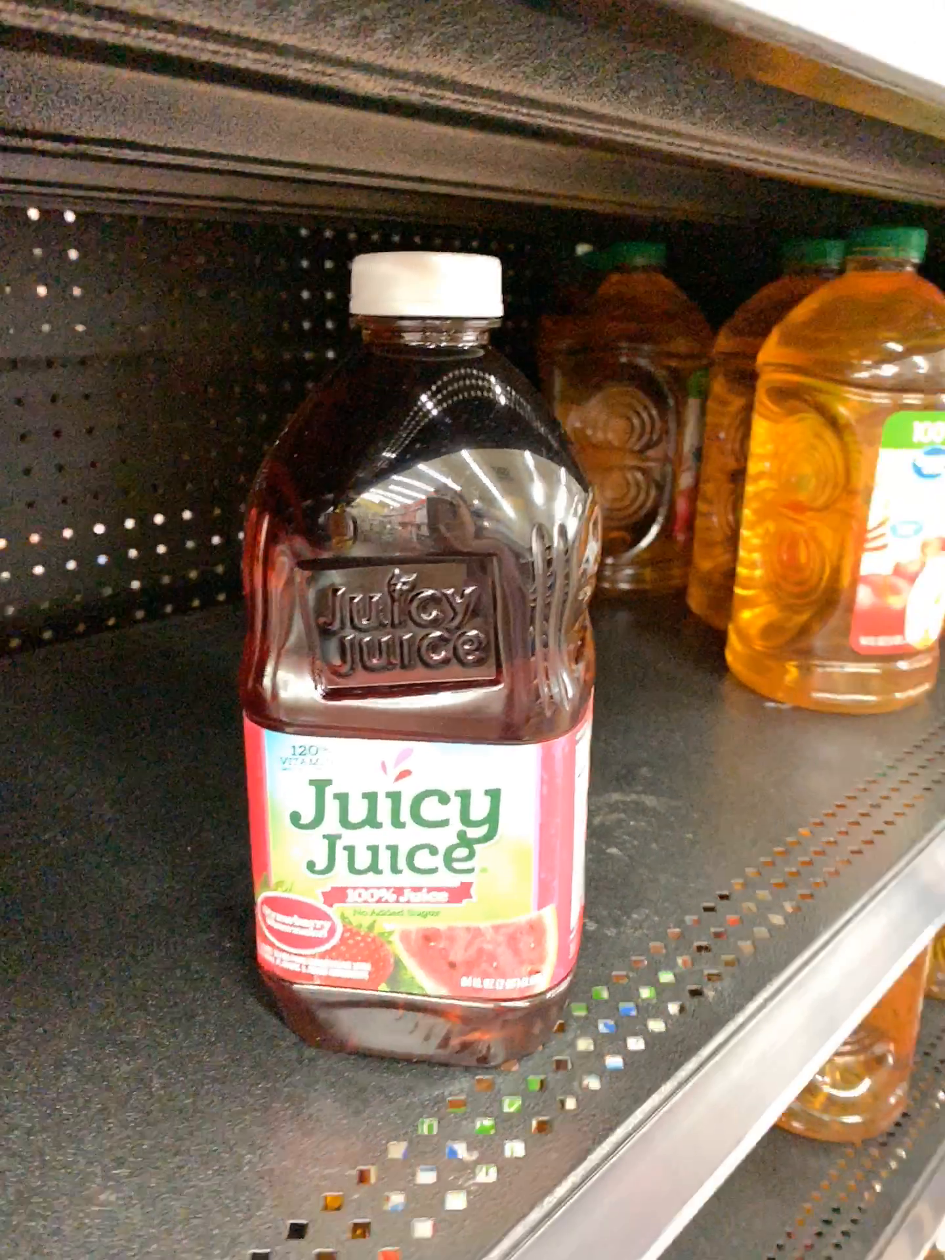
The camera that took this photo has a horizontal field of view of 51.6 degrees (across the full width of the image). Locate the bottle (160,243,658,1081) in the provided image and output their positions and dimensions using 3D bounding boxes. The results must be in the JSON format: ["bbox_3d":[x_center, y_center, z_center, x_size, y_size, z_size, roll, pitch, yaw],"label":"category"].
[{"bbox_3d":[-0.016,0.010,0.328,0.125,0.255,0.090,3,20,4],"label":"bottle"}]
